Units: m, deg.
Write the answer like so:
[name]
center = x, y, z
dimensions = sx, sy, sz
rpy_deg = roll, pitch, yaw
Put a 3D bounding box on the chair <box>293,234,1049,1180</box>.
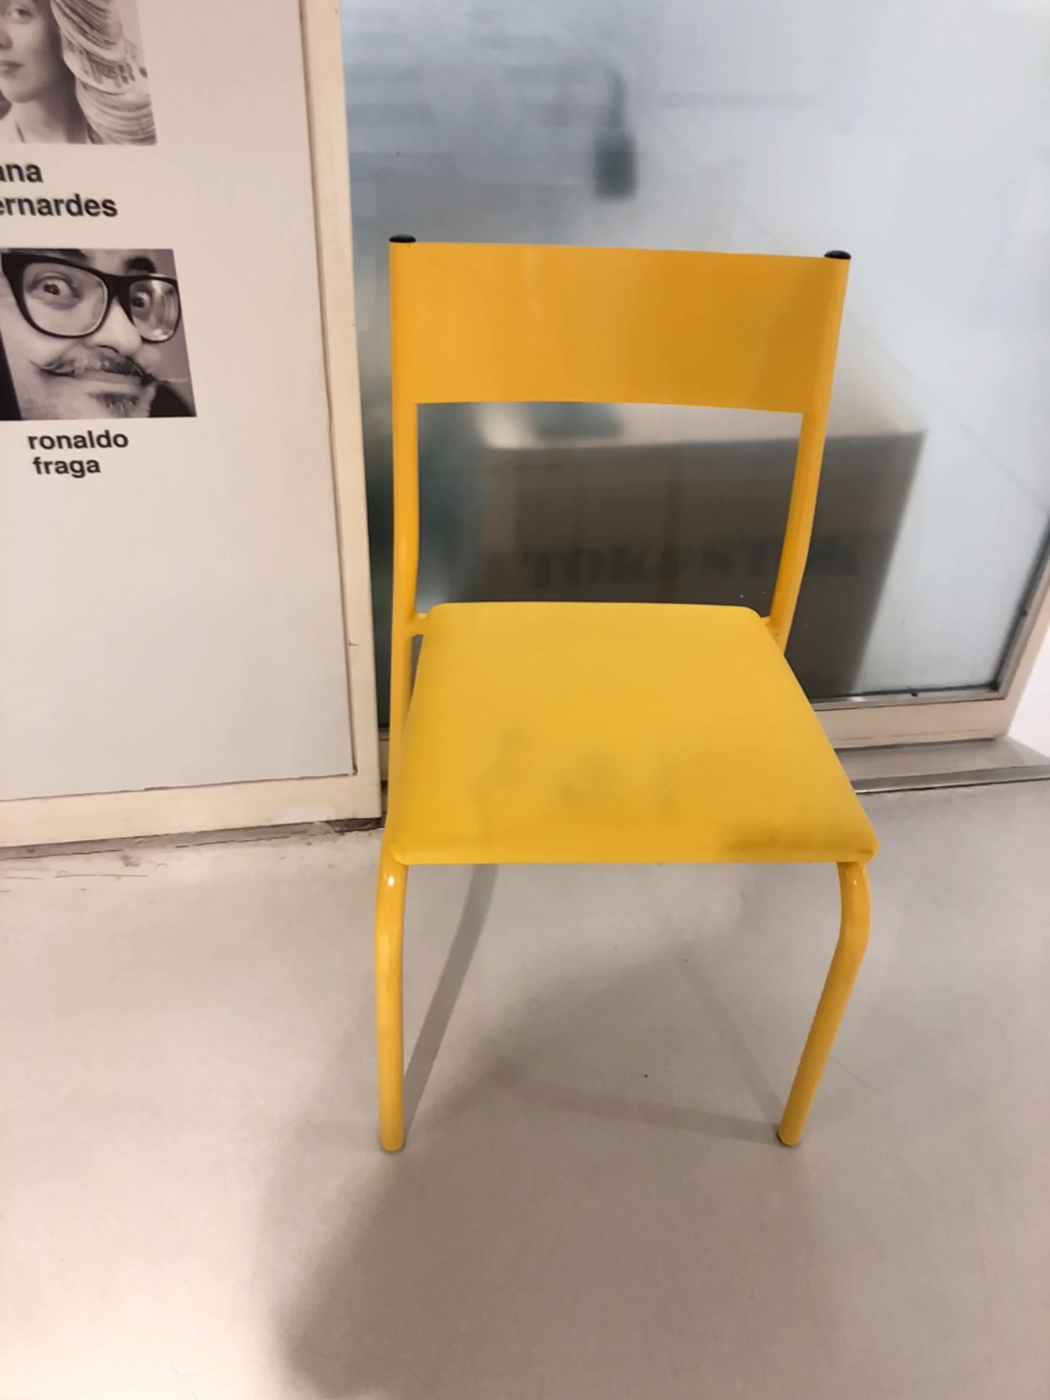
[chair]
center = 0.078, 0.025, 1.160
dimensions = 0.490, 0.784, 0.524
rpy_deg = 0, 39, -3
